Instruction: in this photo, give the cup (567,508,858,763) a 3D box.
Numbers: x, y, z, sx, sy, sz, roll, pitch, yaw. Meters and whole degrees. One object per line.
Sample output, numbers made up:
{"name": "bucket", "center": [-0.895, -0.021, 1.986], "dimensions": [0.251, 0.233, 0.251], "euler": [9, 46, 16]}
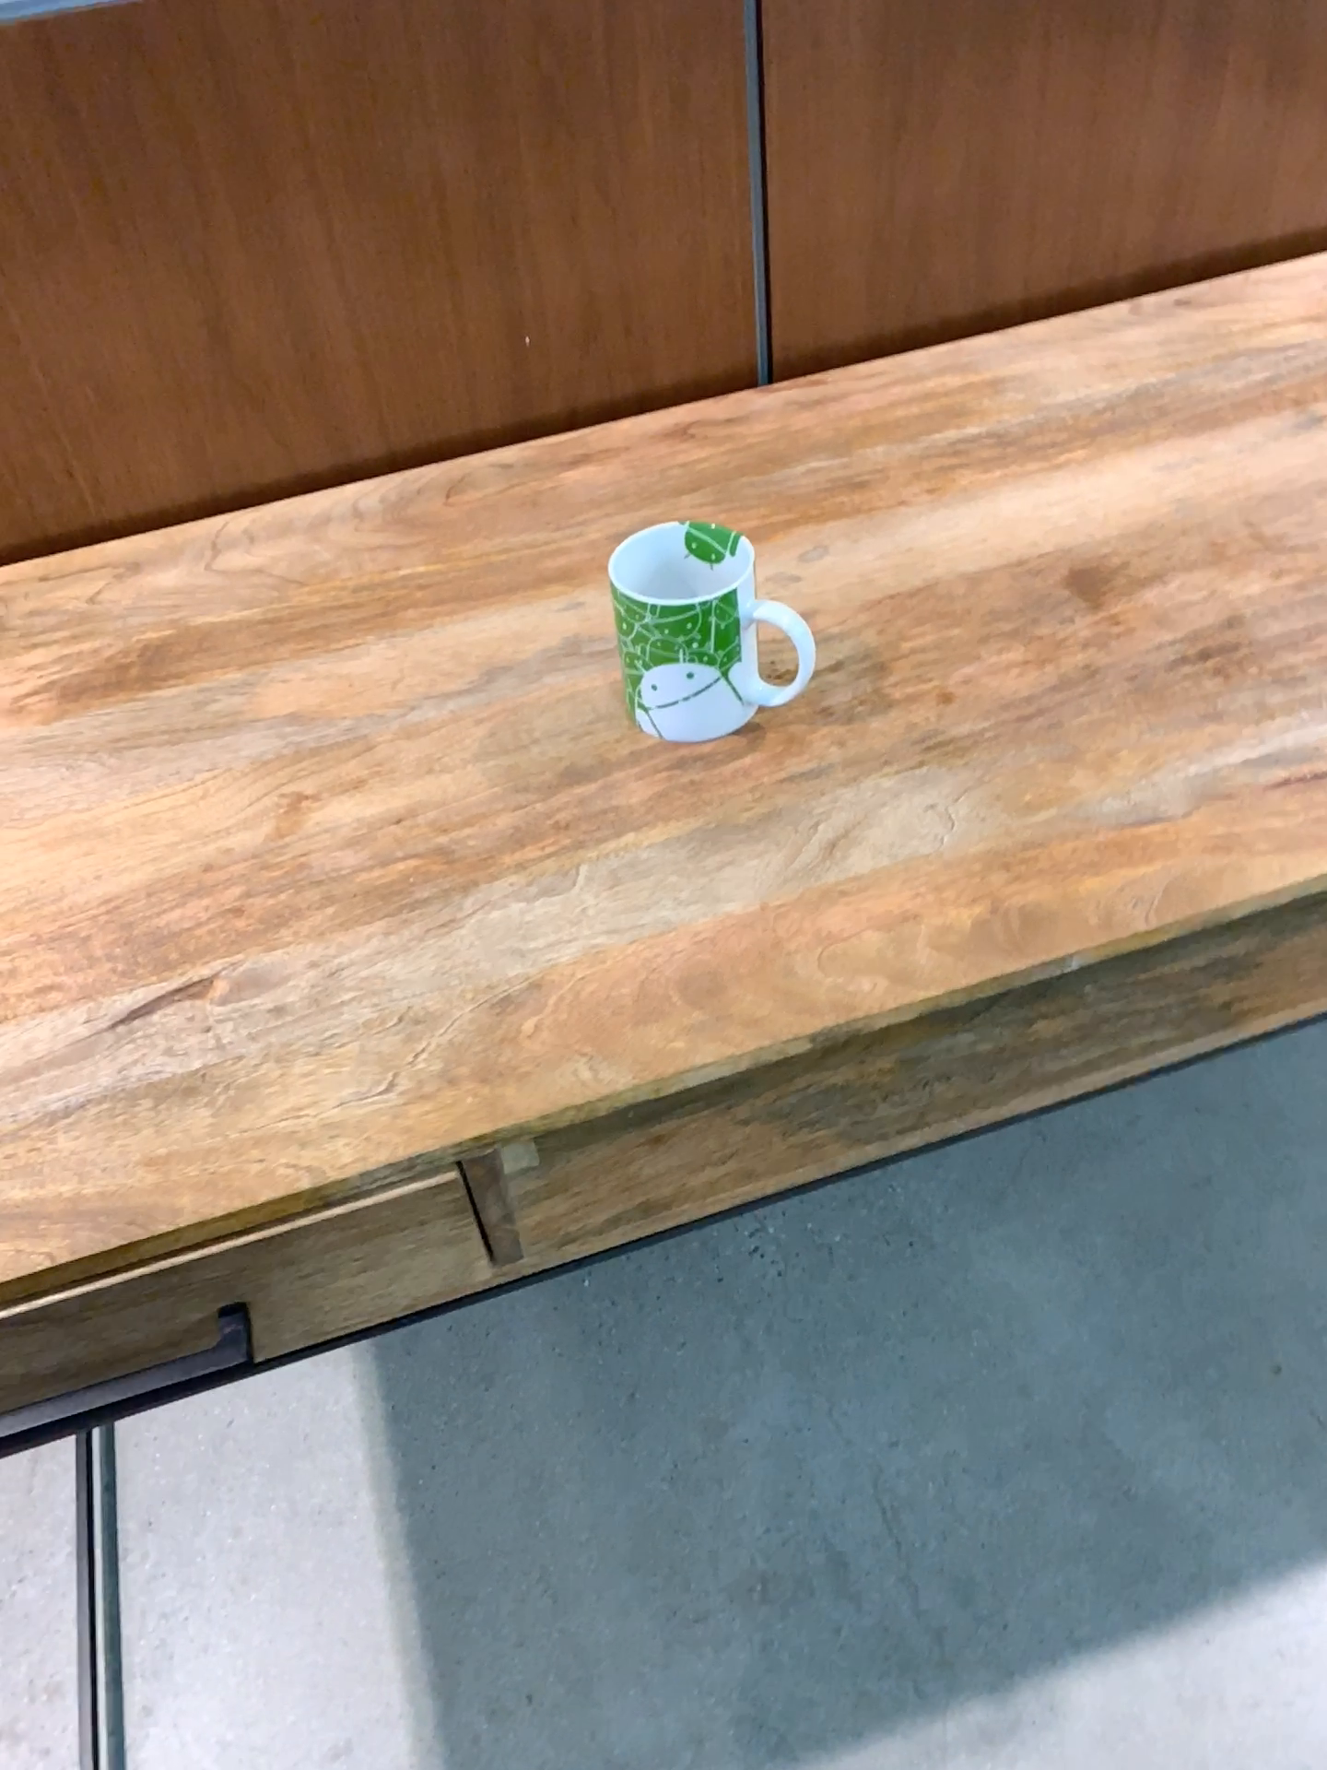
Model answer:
{"name": "cup", "center": [0.029, -0.138, 0.737], "dimensions": [0.120, 0.070, 0.100], "euler": [19, 50, 24]}
